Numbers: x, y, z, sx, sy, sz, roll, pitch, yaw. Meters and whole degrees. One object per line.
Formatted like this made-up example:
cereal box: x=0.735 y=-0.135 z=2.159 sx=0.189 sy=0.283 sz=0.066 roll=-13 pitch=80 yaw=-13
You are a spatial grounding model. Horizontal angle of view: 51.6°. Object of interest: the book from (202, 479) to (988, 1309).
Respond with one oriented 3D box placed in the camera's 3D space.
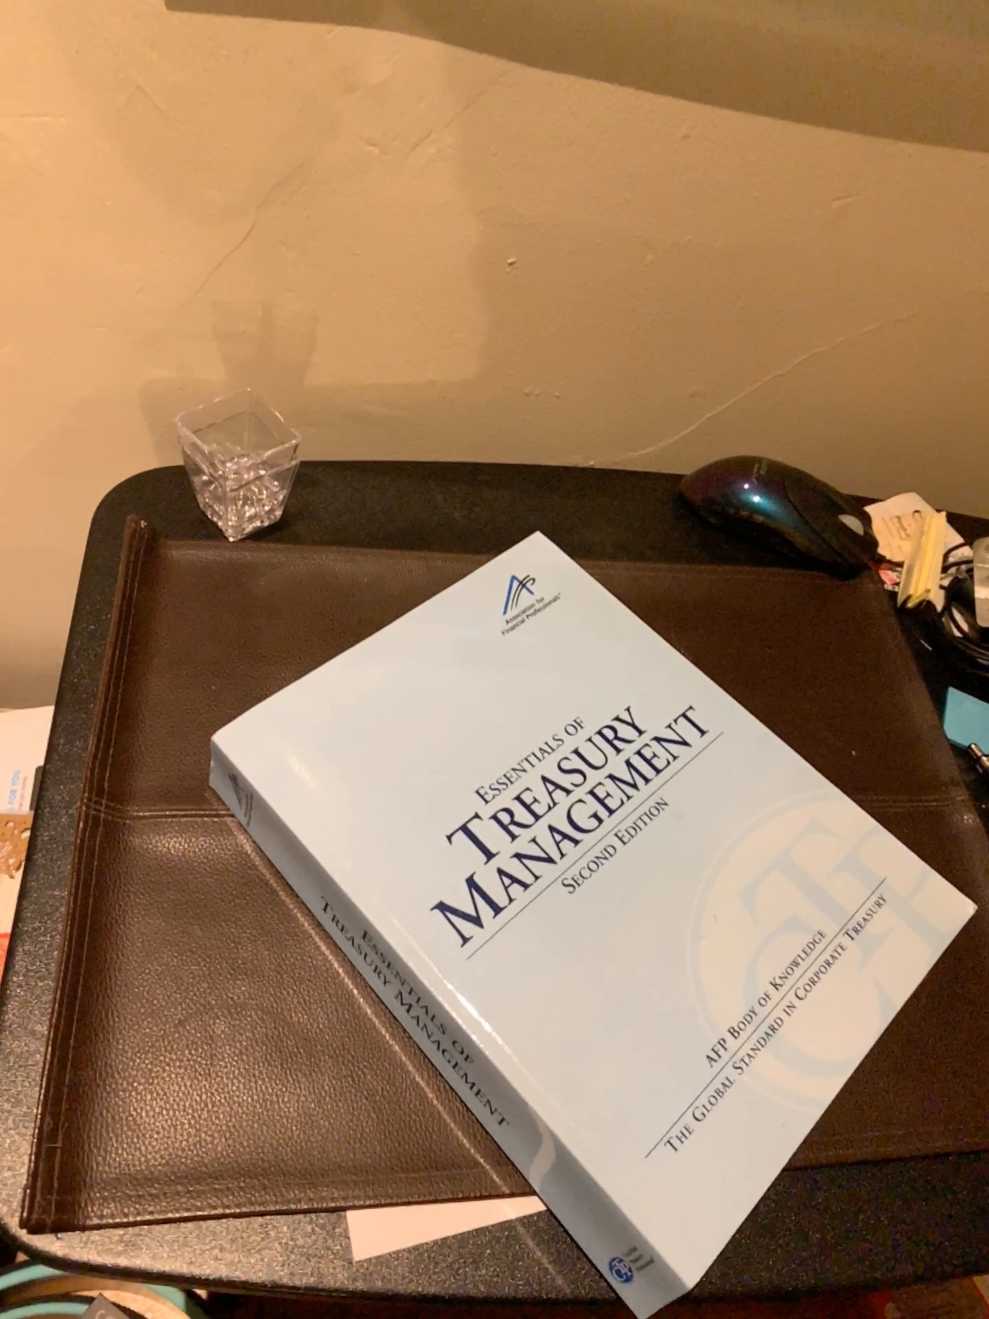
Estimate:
book: x=0.050 y=0.072 z=0.463 sx=0.220 sy=0.060 sz=0.301 roll=-33 pitch=67 yaw=-30
